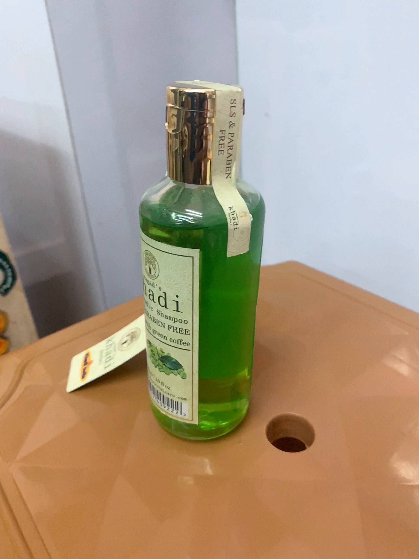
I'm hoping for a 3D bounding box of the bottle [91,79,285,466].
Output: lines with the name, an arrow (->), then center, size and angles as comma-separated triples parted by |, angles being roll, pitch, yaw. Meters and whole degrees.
bottle -> -0.008, -0.001, 0.188 | 0.050, 0.149, 0.050 | -1, 27, 0
